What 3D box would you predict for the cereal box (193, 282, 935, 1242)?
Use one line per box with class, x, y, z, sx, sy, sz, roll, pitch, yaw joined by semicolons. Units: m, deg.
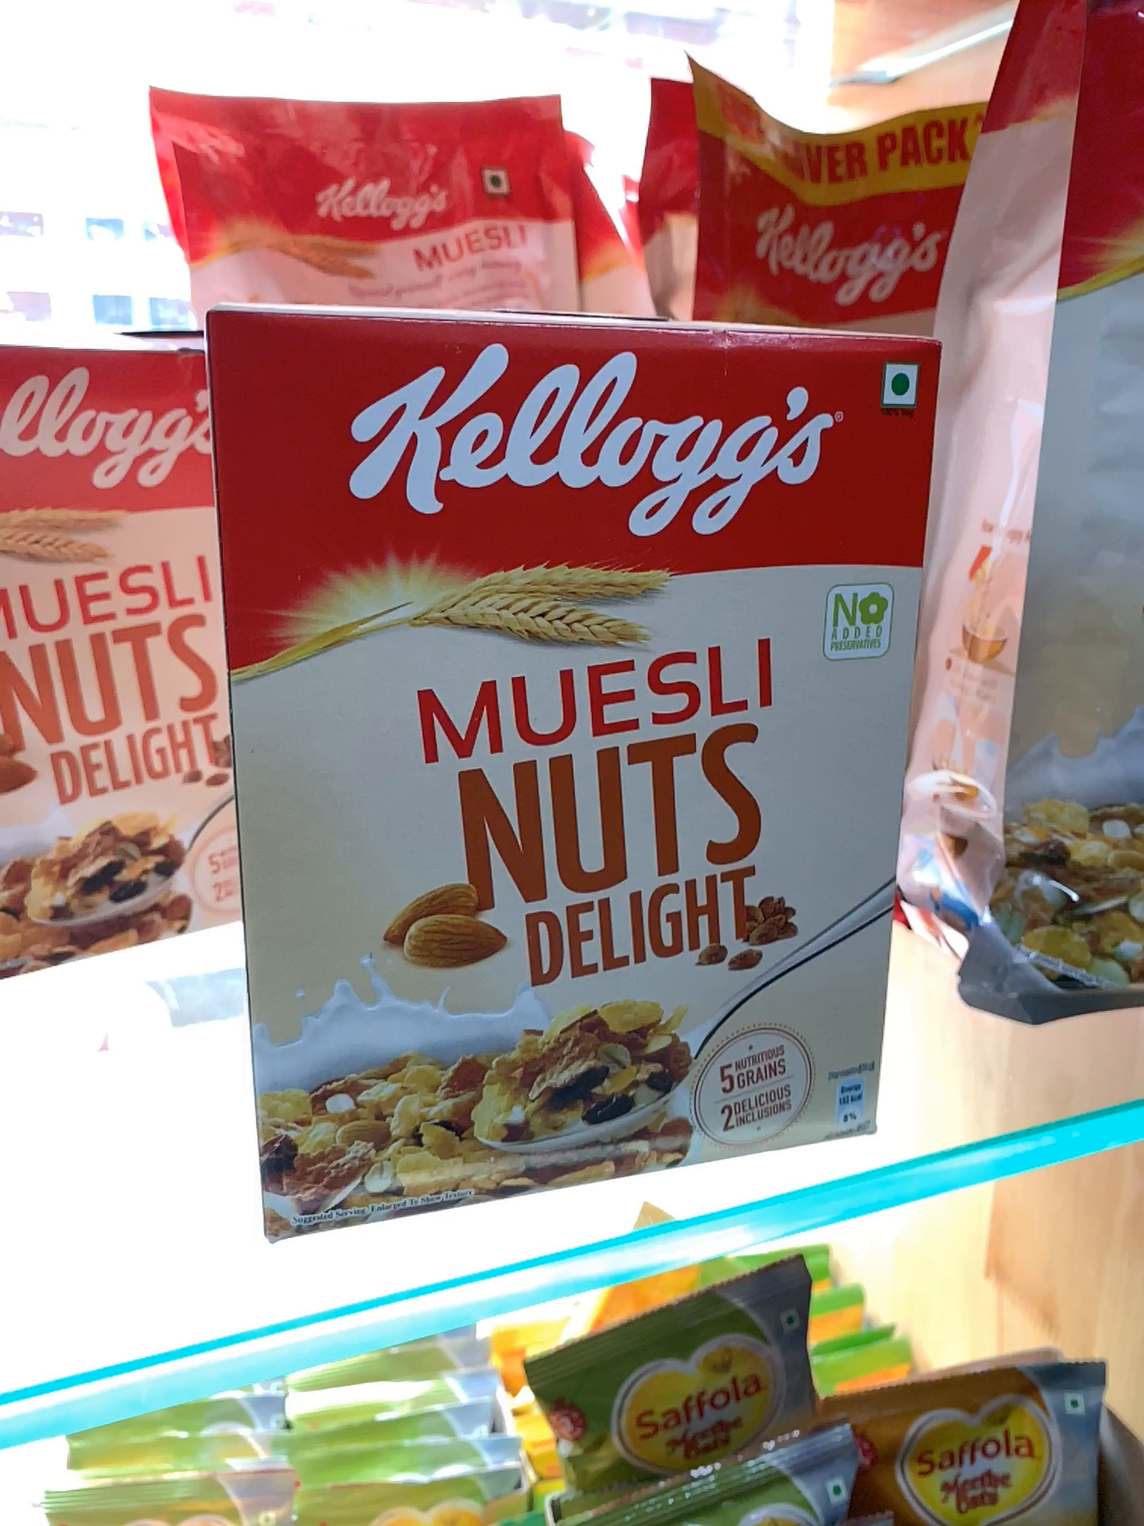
cereal box;-0.004;-0.002;0.246;0.130;0.169;0.050;-4;16;-17
